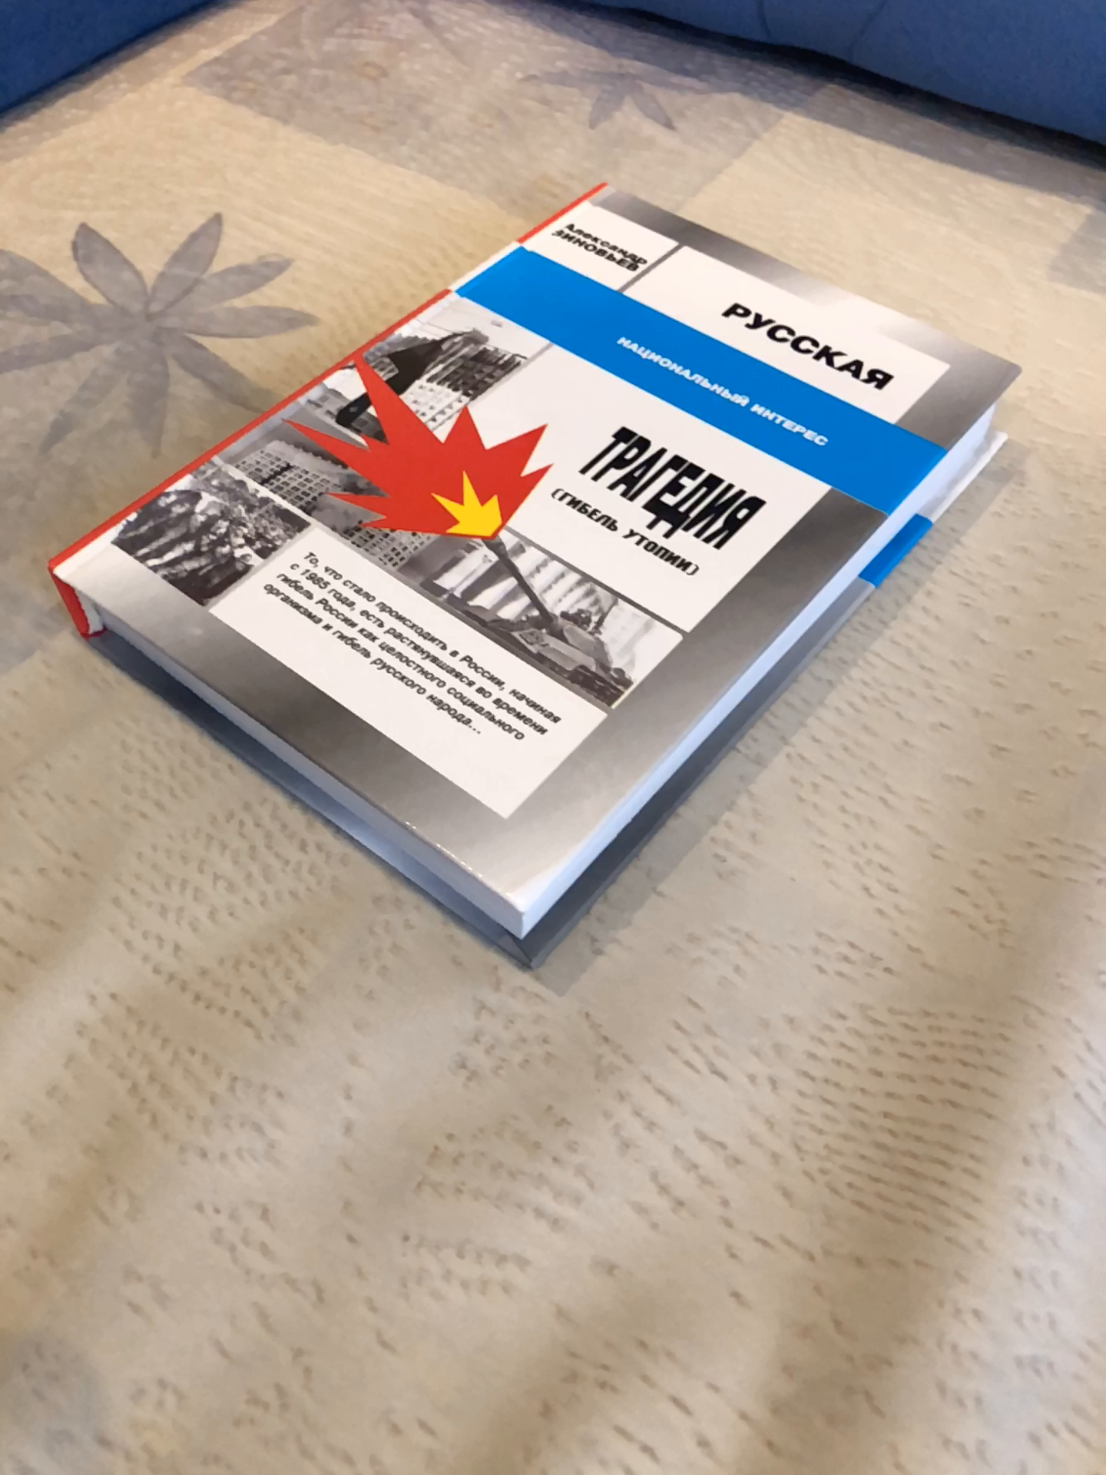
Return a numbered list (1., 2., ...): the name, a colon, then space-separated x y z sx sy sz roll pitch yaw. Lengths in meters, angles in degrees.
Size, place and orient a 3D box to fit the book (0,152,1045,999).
1. book: -0.003 -0.062 0.306 0.160 0.040 0.201 33 60 24
